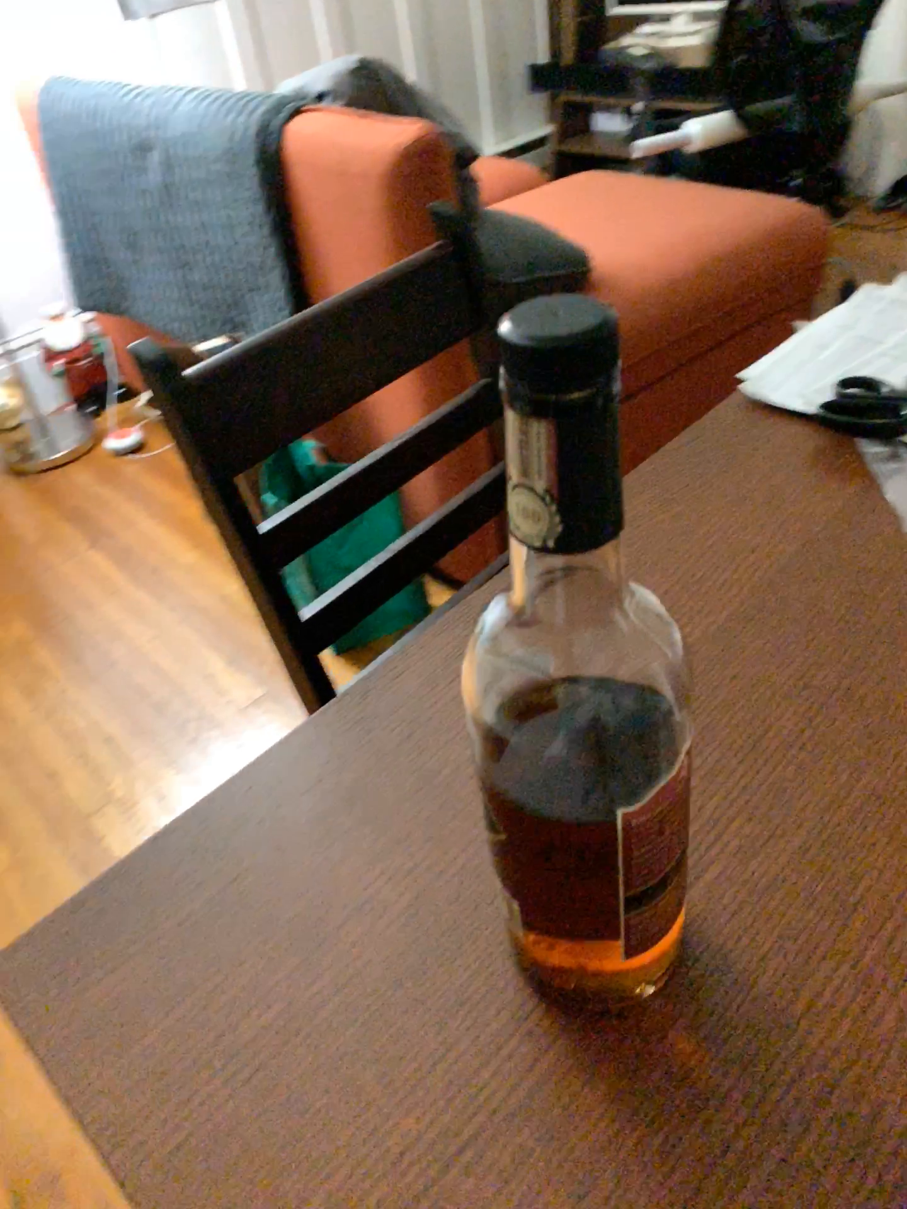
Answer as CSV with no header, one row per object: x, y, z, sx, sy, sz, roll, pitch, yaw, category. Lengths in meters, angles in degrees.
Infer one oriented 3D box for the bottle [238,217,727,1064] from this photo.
0.028,0.031,0.323,0.090,0.288,0.090,-6,39,5,bottle
